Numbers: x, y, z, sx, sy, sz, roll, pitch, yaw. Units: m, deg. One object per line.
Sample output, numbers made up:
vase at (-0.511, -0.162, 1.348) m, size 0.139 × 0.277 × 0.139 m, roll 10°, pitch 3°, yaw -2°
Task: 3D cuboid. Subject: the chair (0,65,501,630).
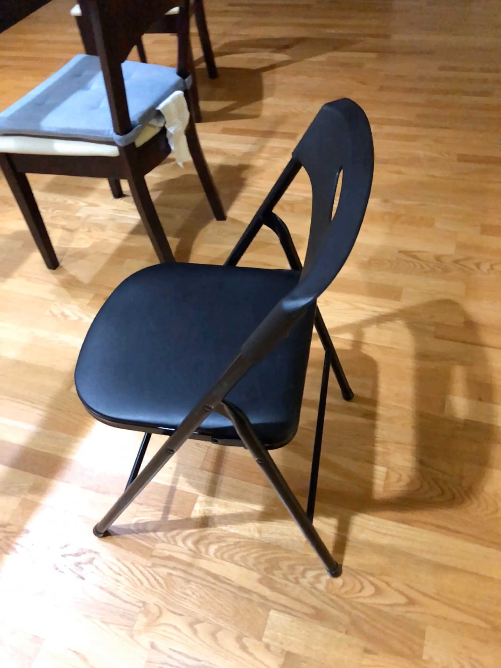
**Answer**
chair at (-0.036, 0.018, 0.930) m, size 0.680 × 0.657 × 0.613 m, roll 4°, pitch 49°, yaw 11°
